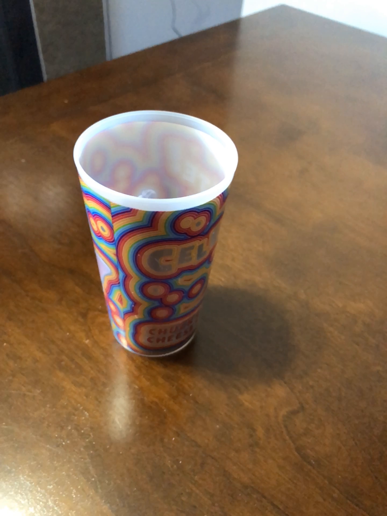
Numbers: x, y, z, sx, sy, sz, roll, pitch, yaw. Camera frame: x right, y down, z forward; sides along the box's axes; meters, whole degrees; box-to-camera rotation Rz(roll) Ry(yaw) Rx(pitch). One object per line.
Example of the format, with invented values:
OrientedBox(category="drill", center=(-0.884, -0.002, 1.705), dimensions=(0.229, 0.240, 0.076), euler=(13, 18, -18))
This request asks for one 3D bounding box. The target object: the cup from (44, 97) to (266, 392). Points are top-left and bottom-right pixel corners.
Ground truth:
OrientedBox(category="cup", center=(-0.020, -0.004, 0.241), dimensions=(0.070, 0.130, 0.070), euler=(3, 45, -3))
